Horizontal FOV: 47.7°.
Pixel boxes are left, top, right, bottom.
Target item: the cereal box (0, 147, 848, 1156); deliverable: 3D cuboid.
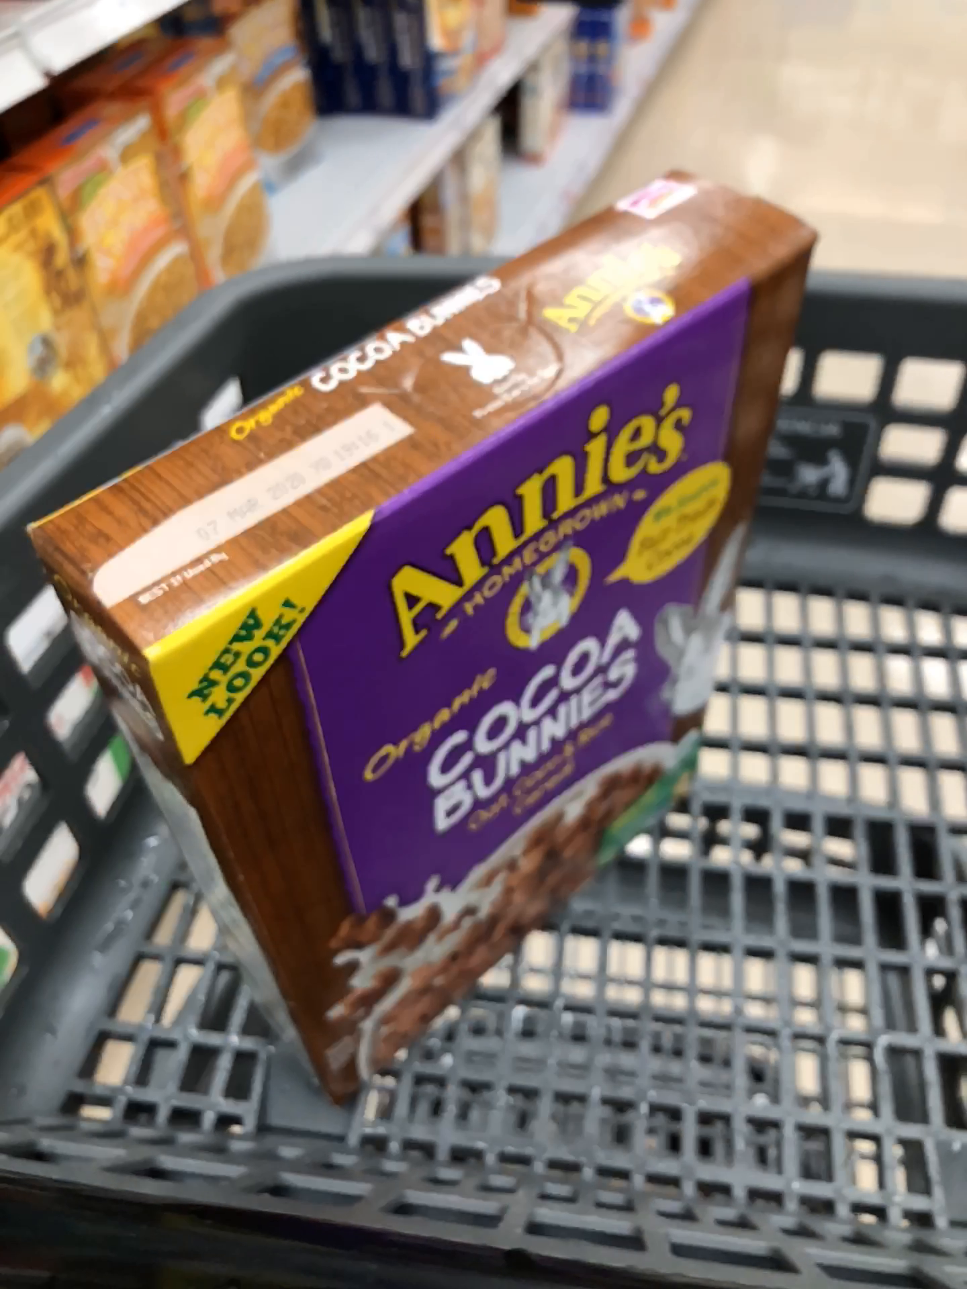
[{"bbox_3d":[0.003,0.016,0.318,0.200,0.240,0.050,-36,55,-27],"label":"cereal box"}]
